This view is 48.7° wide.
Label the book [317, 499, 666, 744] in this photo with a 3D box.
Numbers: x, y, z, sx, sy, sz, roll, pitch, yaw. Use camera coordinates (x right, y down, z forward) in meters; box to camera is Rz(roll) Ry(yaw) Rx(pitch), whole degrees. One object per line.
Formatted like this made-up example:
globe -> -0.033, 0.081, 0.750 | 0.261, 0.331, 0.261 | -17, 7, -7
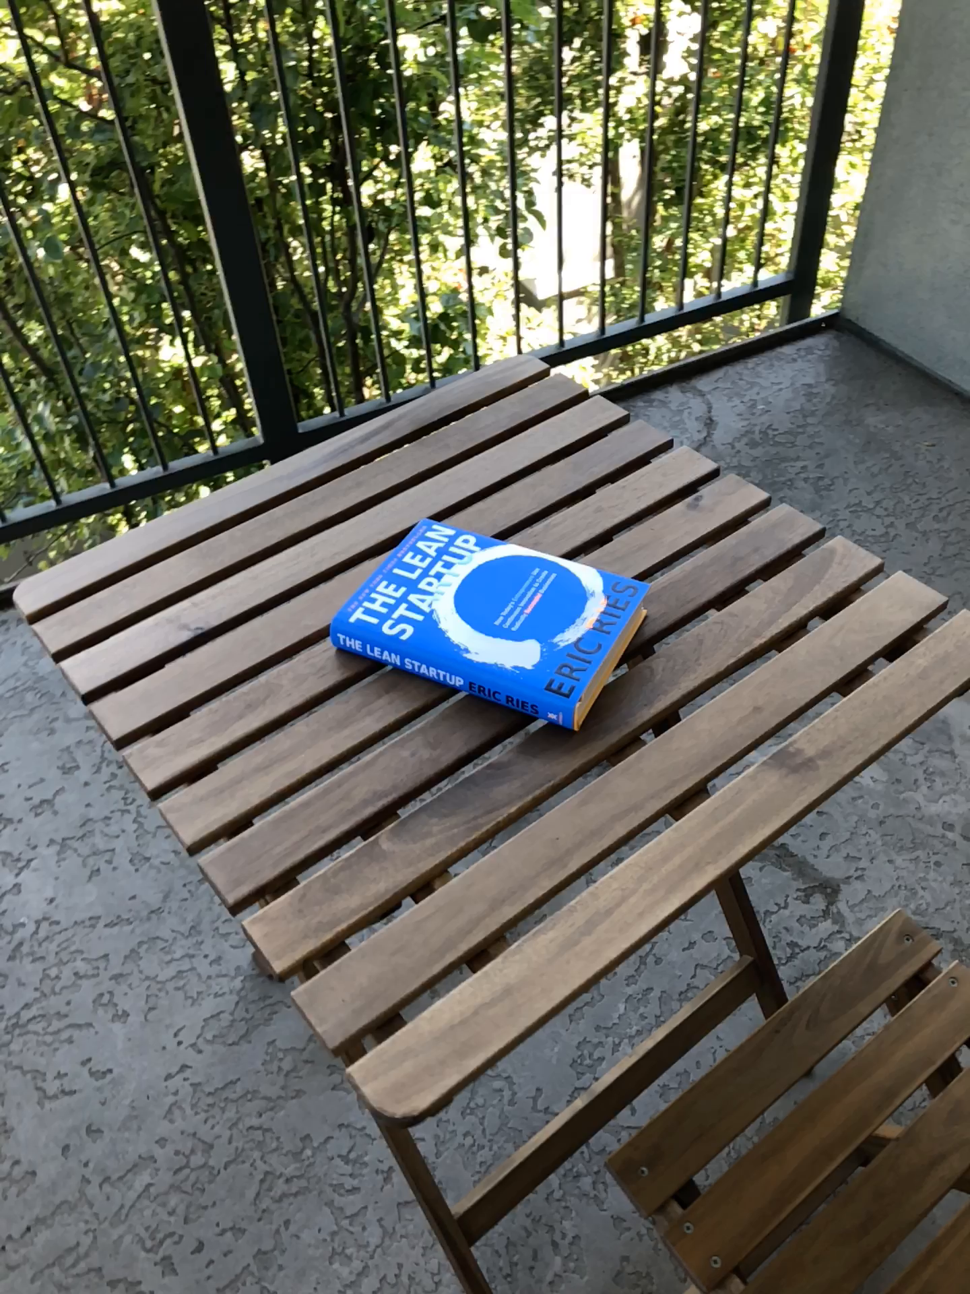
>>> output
book -> 0.007, -0.029, 0.867 | 0.230, 0.040, 0.160 | 19, 50, 22
